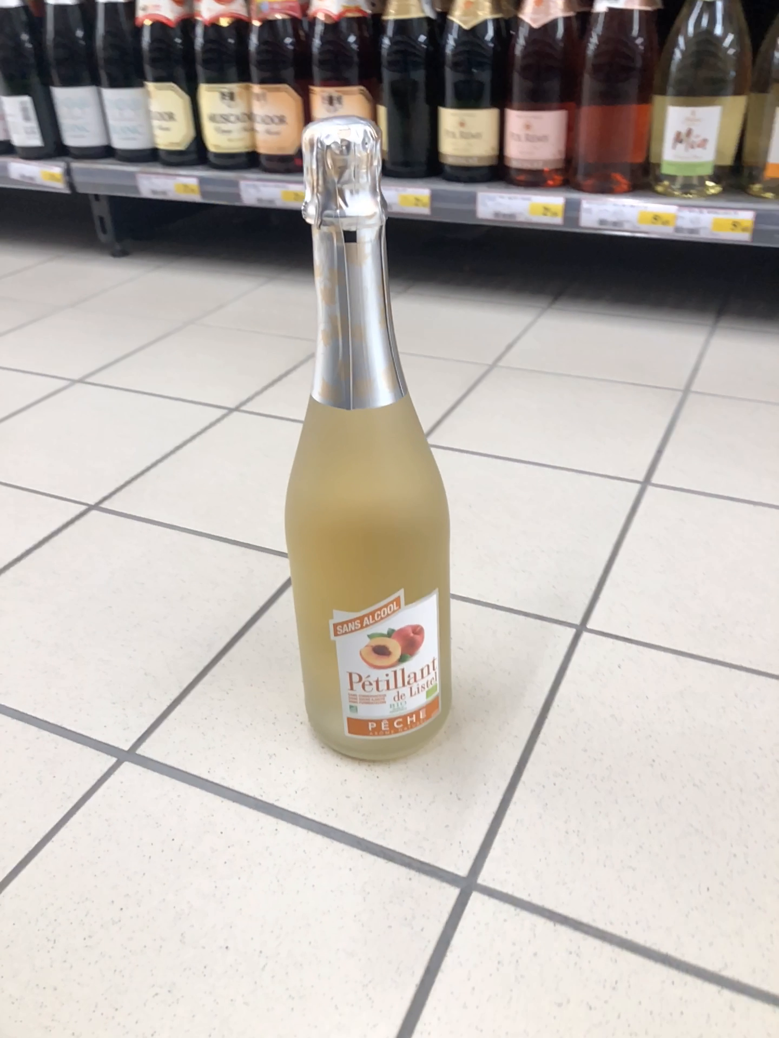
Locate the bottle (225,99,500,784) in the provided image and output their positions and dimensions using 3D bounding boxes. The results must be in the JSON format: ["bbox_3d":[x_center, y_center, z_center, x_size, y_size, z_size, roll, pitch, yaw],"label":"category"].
[{"bbox_3d":[-0.010,-0.025,0.412,0.090,0.308,0.090,-2,30,1],"label":"bottle"}]
